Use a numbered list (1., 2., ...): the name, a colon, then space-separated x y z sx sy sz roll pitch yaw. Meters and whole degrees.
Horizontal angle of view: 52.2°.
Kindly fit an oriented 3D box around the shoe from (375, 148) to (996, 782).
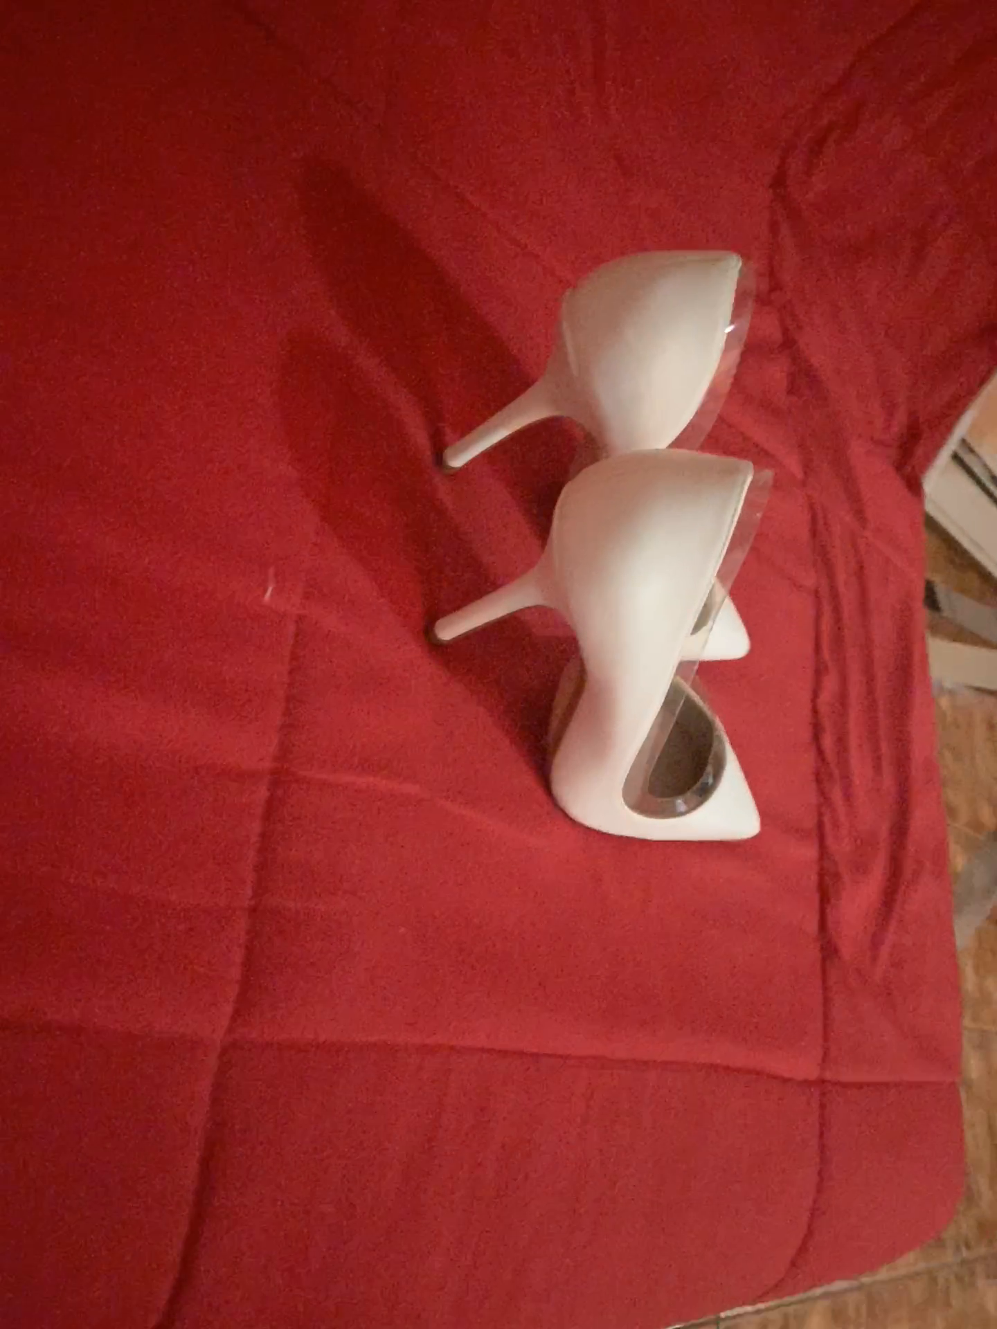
1. shoe: 0.095 -0.055 0.426 0.242 0.139 0.098 37 54 -35

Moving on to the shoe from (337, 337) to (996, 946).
1. shoe: 0.086 0.018 0.391 0.244 0.136 0.098 37 54 -35
